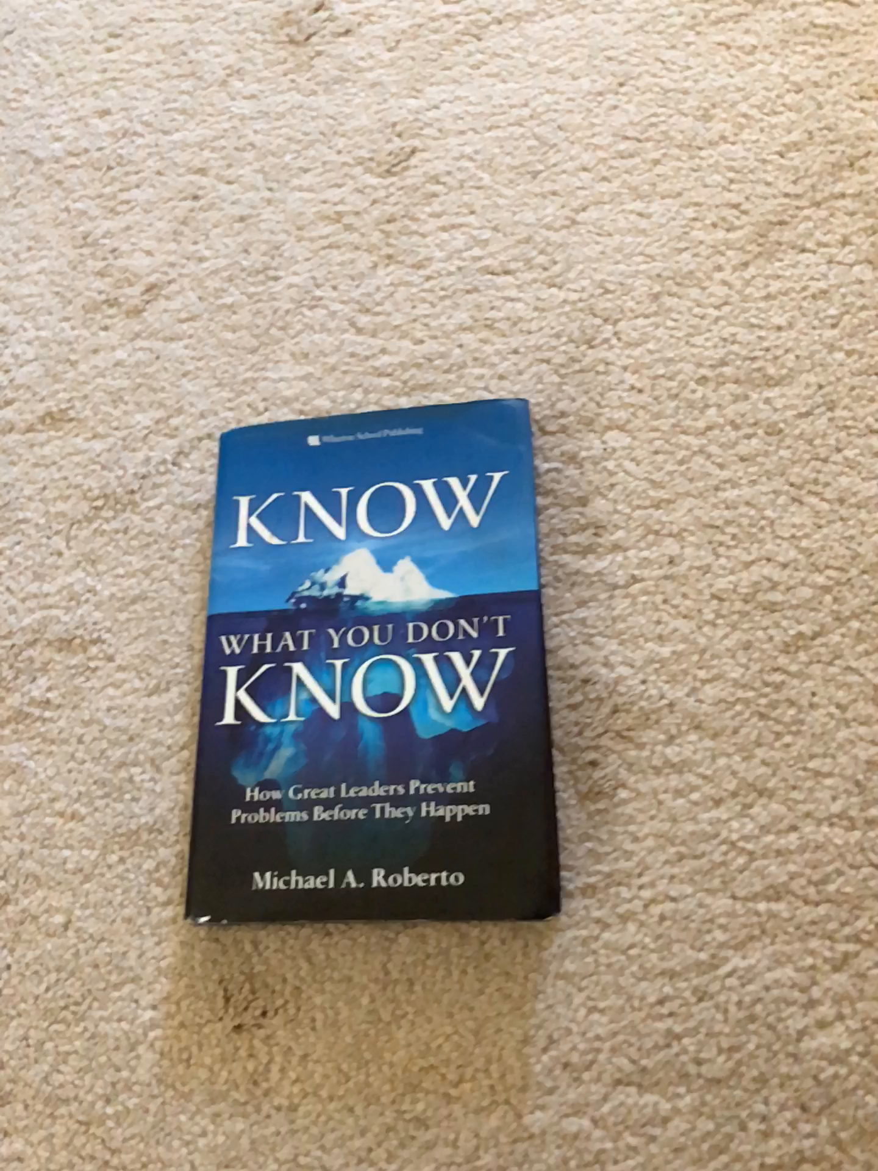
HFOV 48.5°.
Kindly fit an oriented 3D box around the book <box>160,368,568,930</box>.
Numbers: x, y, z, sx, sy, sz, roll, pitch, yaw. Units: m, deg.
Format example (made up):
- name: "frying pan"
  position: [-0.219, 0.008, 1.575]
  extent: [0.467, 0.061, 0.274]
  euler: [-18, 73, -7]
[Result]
- name: "book"
  position: [-0.032, 0.024, 0.433]
  extent: [0.160, 0.034, 0.240]
  euler: [-4, 70, 9]
